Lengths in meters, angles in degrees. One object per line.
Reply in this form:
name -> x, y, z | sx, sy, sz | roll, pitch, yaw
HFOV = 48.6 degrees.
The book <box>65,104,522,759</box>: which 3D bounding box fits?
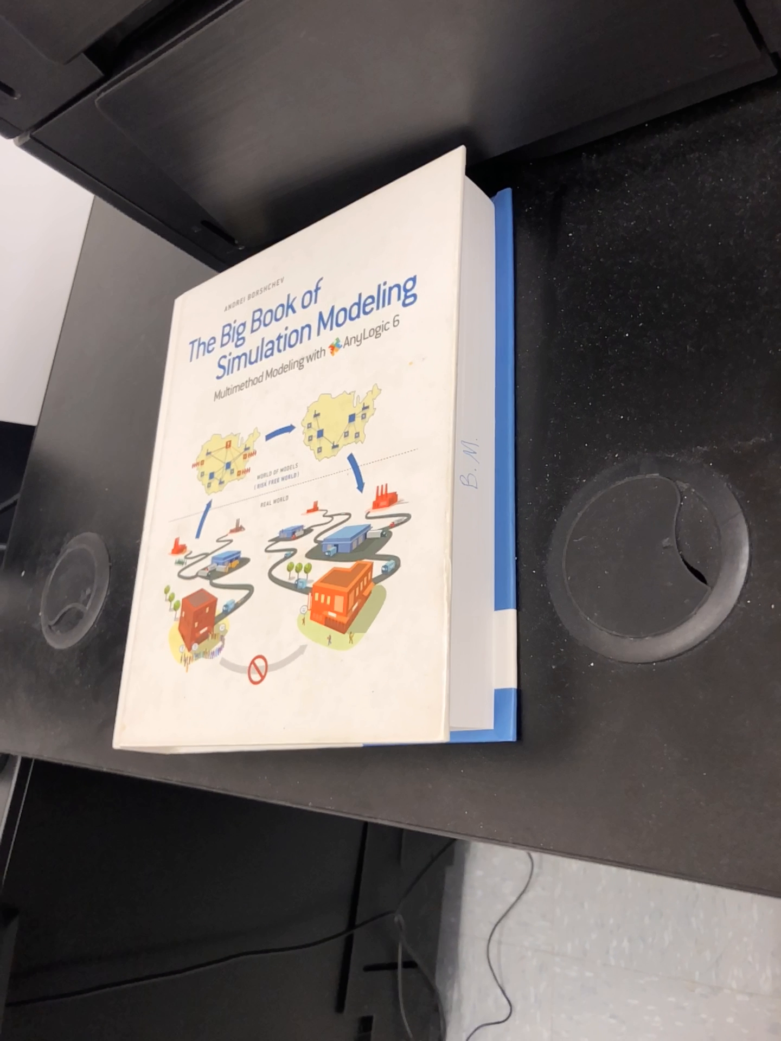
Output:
book -> -0.045, -0.025, 0.389 | 0.211, 0.050, 0.250 | -13, 65, 38
